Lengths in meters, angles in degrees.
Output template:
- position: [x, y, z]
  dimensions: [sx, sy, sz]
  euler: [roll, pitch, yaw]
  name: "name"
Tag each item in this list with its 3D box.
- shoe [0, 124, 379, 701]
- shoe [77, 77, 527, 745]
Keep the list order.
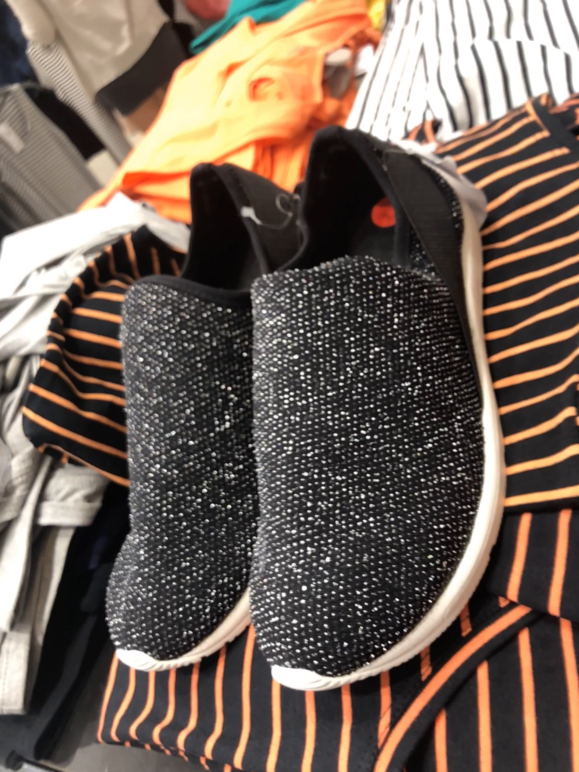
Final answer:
- position: [-0.046, 0.000, 0.317]
  dimensions: [0.100, 0.109, 0.241]
  euler: [-7, 47, 32]
  name: "shoe"
- position: [0.033, -0.004, 0.275]
  dimensions: [0.100, 0.109, 0.241]
  euler: [-9, 46, 30]
  name: "shoe"
